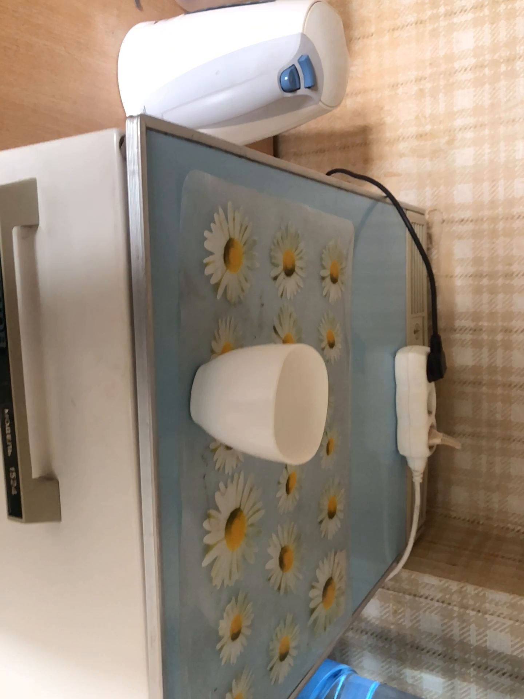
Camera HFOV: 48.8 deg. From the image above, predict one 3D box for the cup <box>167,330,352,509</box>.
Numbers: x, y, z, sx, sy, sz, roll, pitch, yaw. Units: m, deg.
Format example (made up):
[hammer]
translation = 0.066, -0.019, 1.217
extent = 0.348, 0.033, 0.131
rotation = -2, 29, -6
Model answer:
[cup]
translation = 0.003, 0.036, 0.369
extent = 0.103, 0.070, 0.085
rotation = -16, 105, -57
